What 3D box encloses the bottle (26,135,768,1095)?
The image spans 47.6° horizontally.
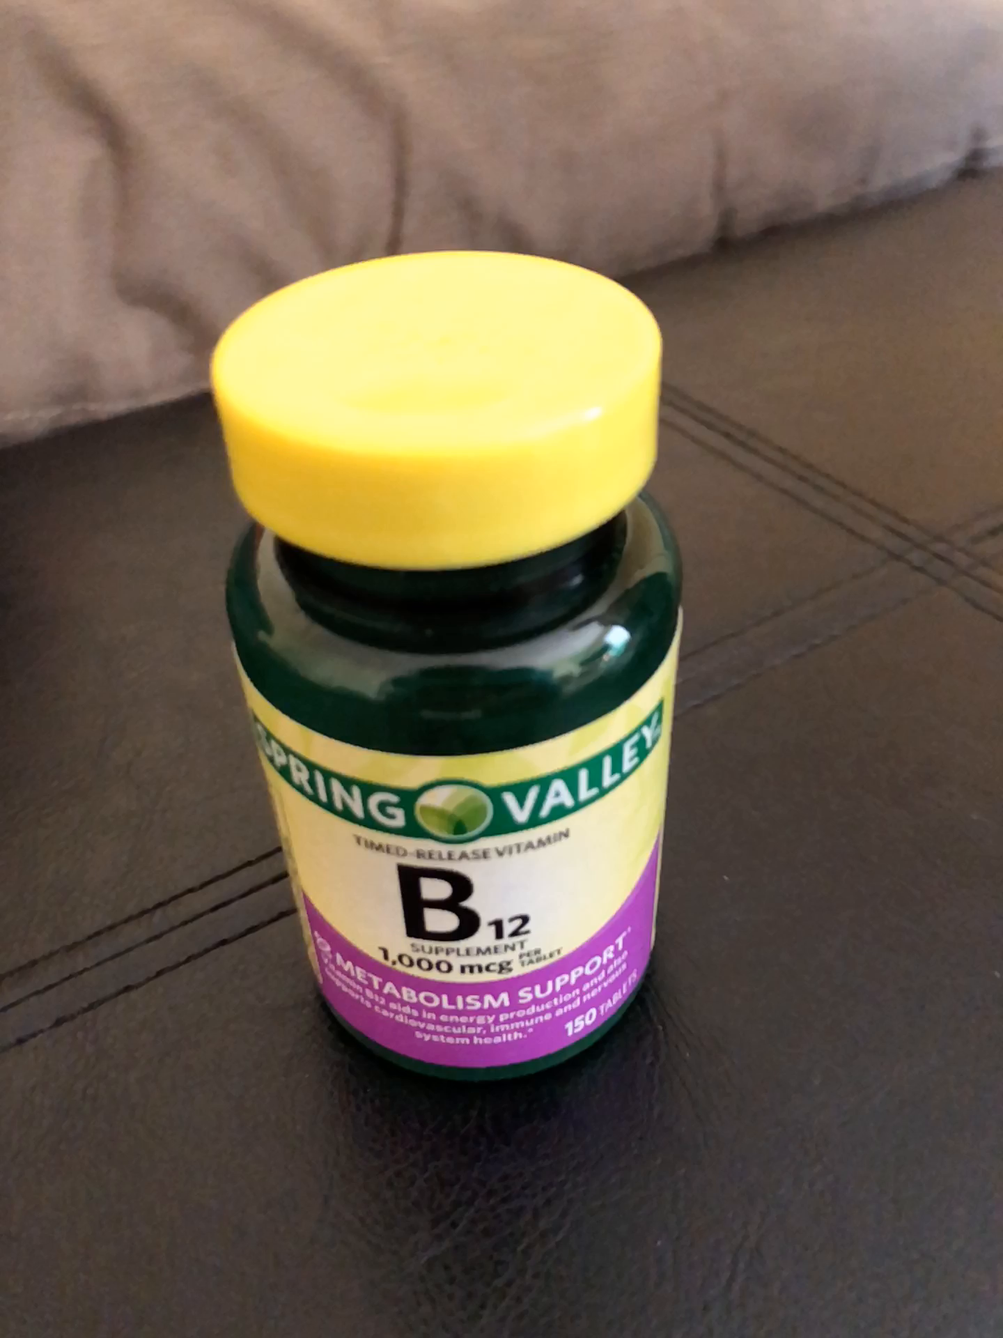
[{"bbox_3d":[-0.004,-0.002,0.123,0.050,0.090,0.050,-2,39,2],"label":"bottle"}]
